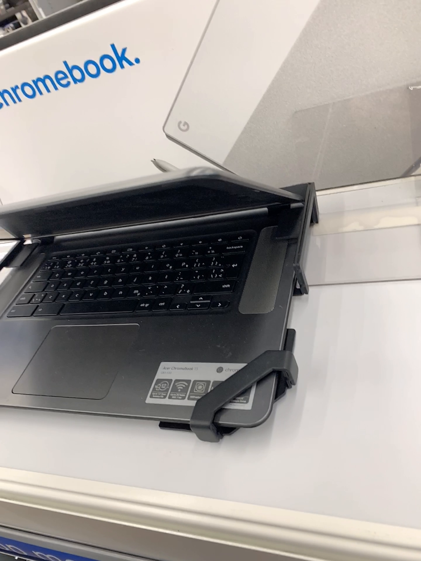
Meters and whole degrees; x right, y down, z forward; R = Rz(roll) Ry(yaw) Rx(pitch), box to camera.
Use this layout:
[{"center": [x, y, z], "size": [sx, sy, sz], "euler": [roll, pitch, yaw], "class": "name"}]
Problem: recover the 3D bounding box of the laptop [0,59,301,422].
[{"center": [-0.104, -0.027, 0.324], "size": [0.301, 0.116, 0.194], "euler": [-4, 44, 25], "class": "laptop"}]
